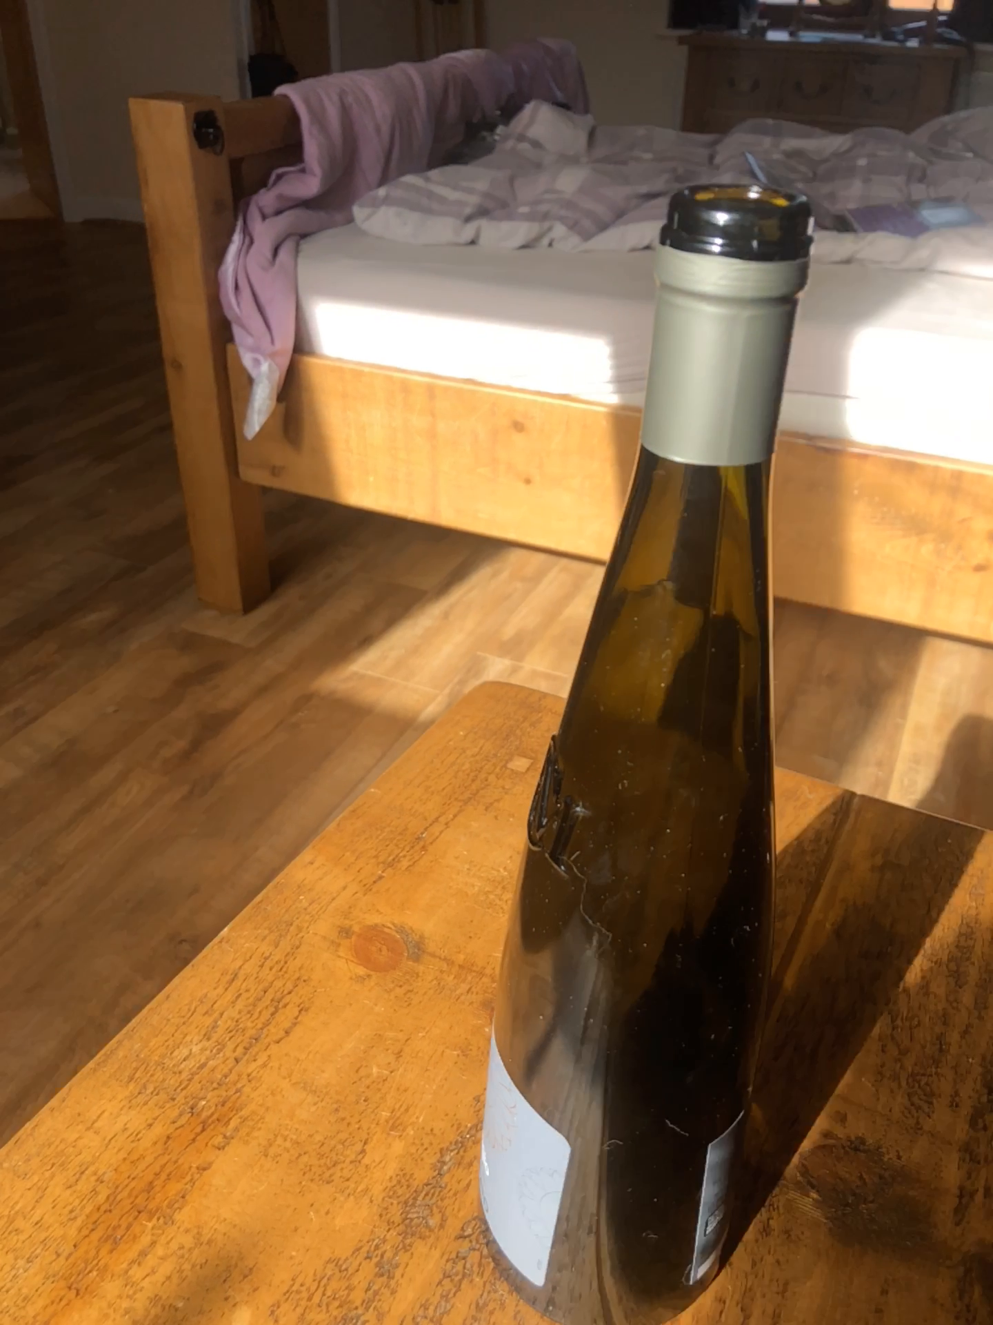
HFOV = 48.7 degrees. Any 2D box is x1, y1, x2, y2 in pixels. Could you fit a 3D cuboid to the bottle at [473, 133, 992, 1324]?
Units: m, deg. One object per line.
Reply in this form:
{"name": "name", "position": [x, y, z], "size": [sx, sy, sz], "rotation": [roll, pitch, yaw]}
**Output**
{"name": "bottle", "position": [0.046, 0.061, 0.276], "size": [0.100, 0.337, 0.101], "rotation": [1, 32, -1]}
